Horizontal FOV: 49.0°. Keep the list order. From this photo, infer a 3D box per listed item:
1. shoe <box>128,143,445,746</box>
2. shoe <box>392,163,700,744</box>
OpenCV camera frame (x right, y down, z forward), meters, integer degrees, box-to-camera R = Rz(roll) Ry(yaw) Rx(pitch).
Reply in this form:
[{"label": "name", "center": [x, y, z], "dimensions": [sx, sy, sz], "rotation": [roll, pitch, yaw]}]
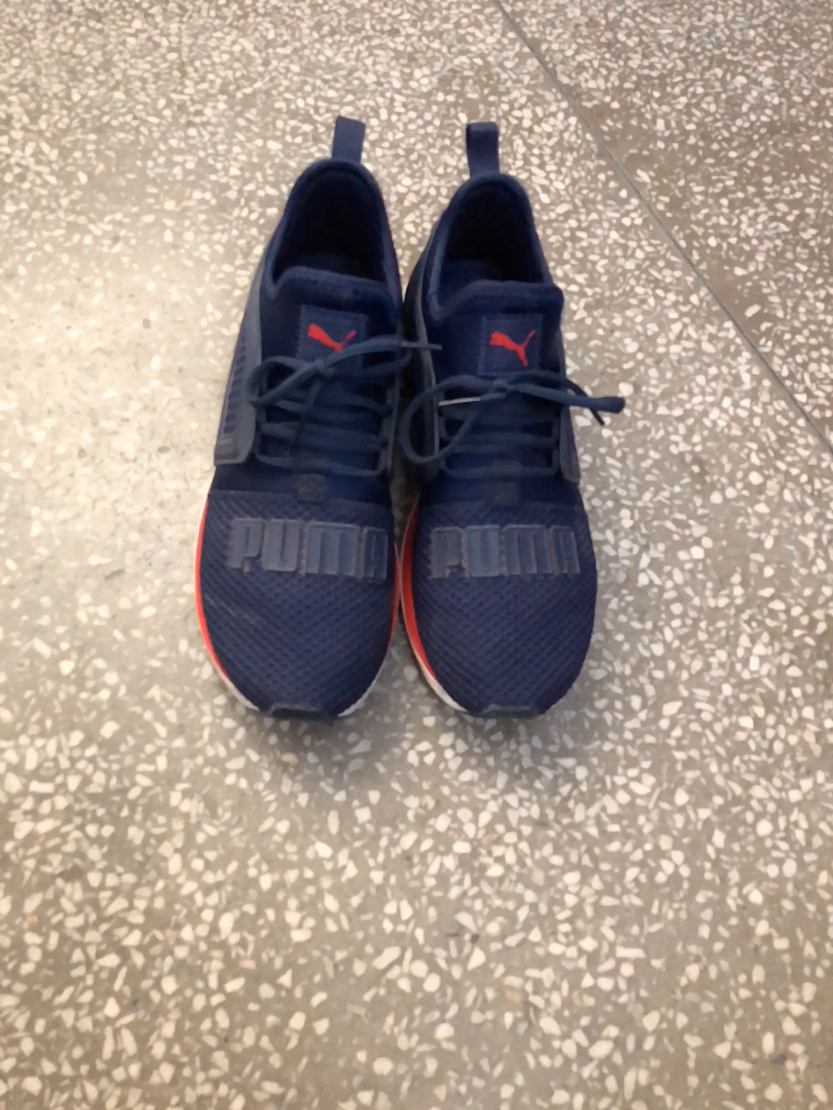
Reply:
[{"label": "shoe", "center": [-0.052, -0.053, 0.439], "dimensions": [0.107, 0.113, 0.258], "rotation": [5, 65, -5]}, {"label": "shoe", "center": [0.047, -0.049, 0.449], "dimensions": [0.107, 0.113, 0.258], "rotation": [2, 65, -7]}]
